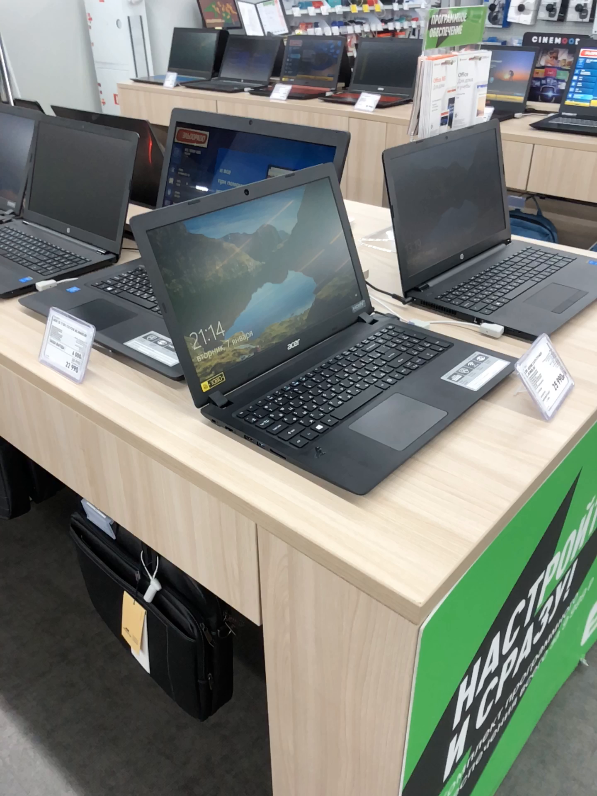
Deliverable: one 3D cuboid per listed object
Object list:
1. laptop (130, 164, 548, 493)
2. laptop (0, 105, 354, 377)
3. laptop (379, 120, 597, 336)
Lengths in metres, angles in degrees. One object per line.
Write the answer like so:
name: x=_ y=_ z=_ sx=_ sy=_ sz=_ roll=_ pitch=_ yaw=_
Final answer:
laptop: x=0.057 y=-0.130 z=0.848 sx=0.348 sy=0.219 sz=0.375 roll=24 pitch=39 yaw=34
laptop: x=-0.197 y=-0.292 z=1.076 sx=0.402 sy=0.250 sz=0.397 roll=24 pitch=41 yaw=34
laptop: x=0.380 y=-0.316 z=1.136 sx=0.295 sy=0.220 sz=0.360 roll=26 pitch=41 yaw=33
